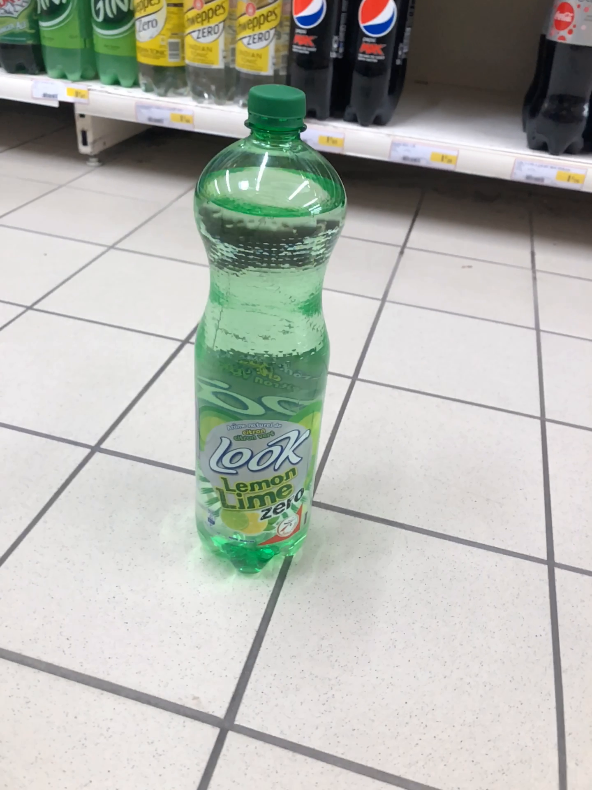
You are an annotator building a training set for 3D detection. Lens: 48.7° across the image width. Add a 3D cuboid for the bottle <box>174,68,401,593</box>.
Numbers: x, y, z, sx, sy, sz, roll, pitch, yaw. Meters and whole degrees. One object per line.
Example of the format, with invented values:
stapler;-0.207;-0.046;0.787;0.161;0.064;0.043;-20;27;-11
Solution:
bottle;-0.020;-0.021;0.416;0.100;0.318;0.101;4;34;-3
